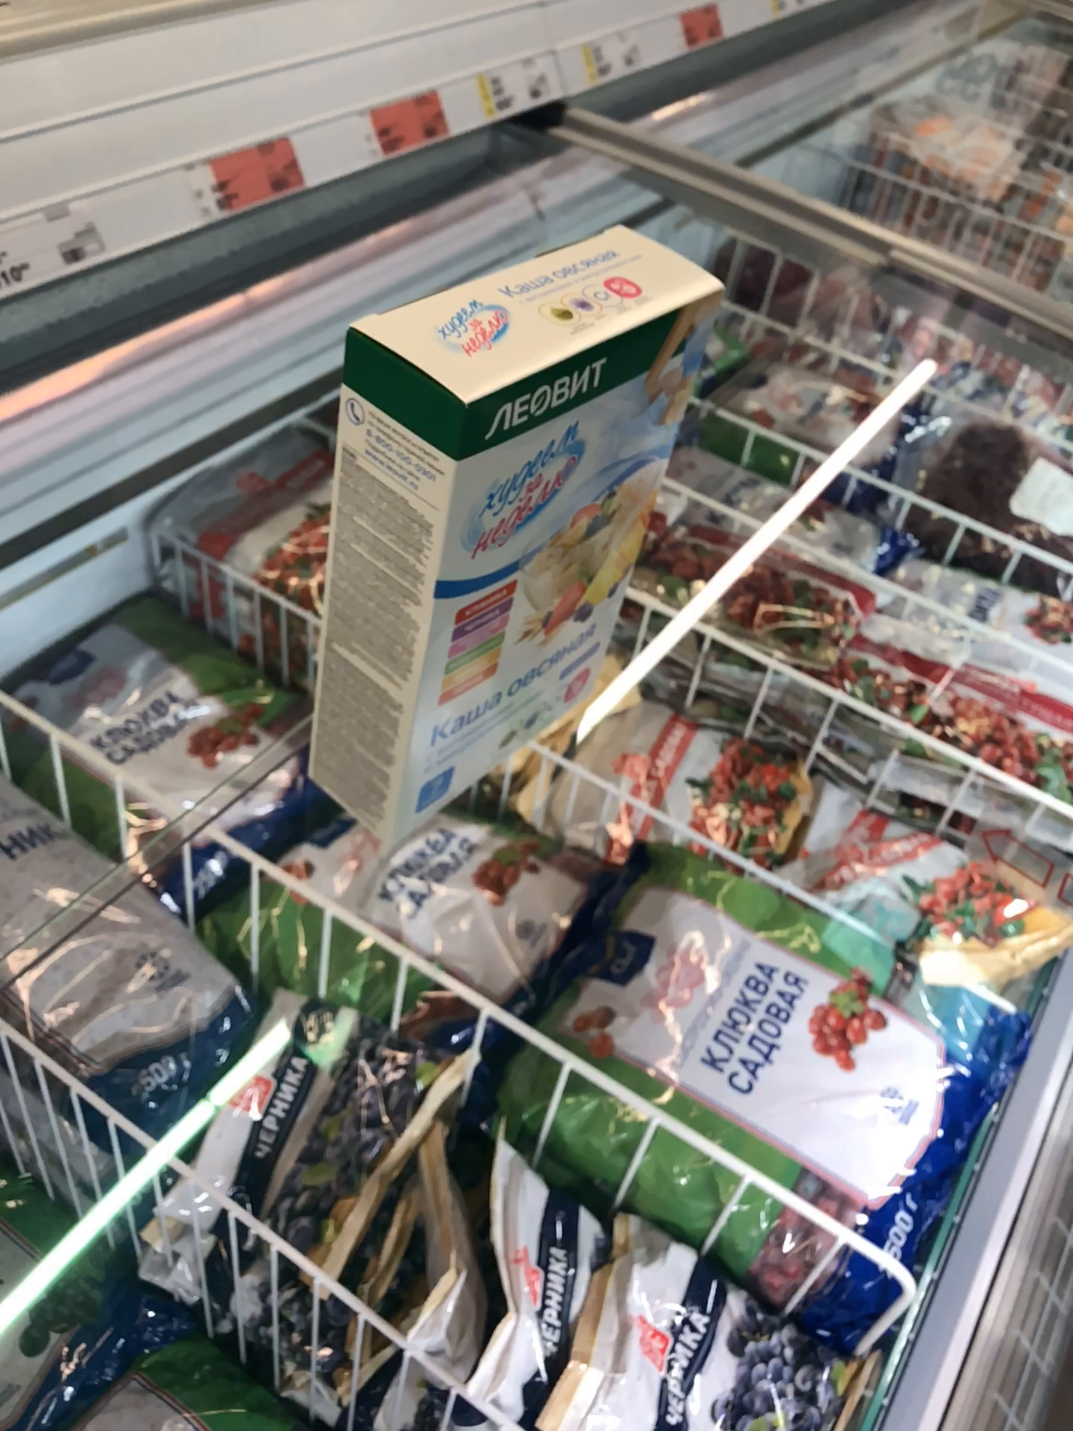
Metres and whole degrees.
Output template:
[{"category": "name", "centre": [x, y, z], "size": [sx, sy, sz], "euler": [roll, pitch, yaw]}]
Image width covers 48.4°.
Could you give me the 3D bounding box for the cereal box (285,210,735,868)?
[{"category": "cereal box", "centre": [-0.019, -0.065, 0.484], "size": [0.060, 0.228, 0.151], "euler": [37, 49, 20]}]
